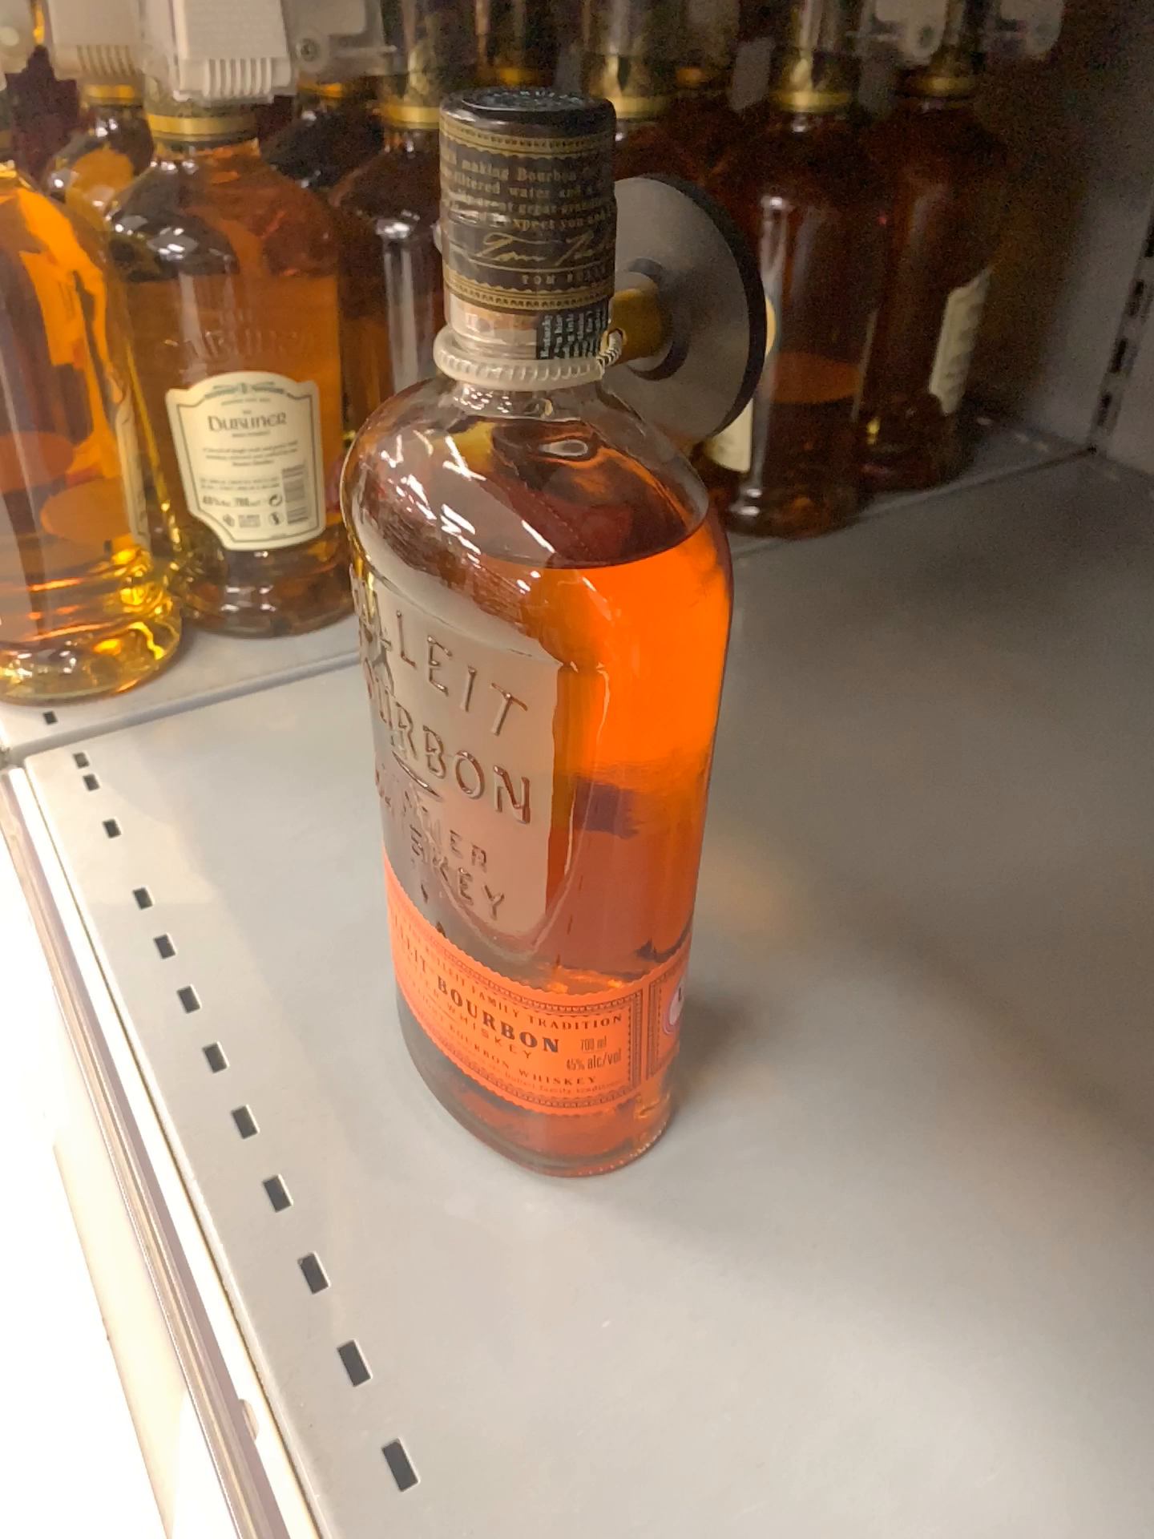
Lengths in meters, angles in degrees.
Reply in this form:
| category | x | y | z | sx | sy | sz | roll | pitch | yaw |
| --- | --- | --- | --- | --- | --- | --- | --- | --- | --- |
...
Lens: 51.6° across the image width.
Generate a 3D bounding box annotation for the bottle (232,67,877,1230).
| category | x | y | z | sx | sy | sz | roll | pitch | yaw |
| --- | --- | --- | --- | --- | --- | --- | --- | --- | --- |
| bottle | -0.011 | -0.017 | 0.265 | 0.060 | 0.228 | 0.101 | -22 | 43 | -29 |
